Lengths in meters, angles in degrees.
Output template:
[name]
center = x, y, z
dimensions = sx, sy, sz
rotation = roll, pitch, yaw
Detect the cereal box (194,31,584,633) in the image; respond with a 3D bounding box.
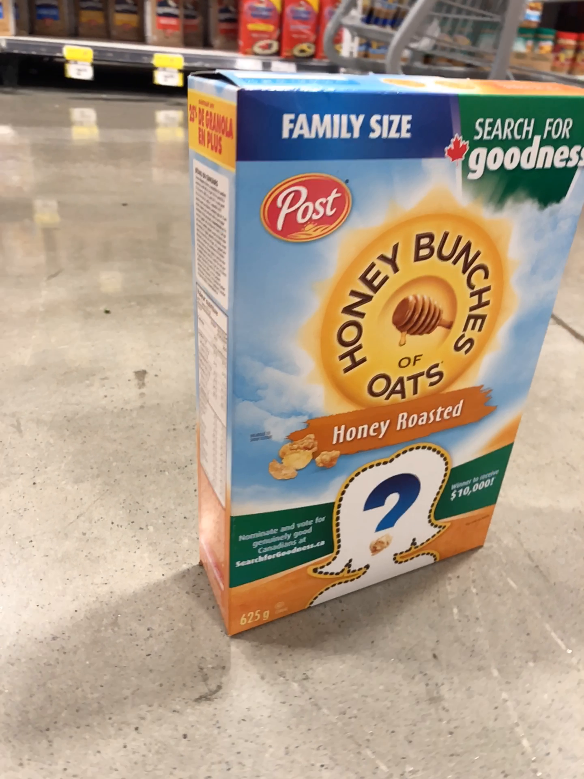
[cereal box]
center = 0.055, -0.024, 0.378
dimensions = 0.210, 0.309, 0.070
rotation = -11, 33, -25
